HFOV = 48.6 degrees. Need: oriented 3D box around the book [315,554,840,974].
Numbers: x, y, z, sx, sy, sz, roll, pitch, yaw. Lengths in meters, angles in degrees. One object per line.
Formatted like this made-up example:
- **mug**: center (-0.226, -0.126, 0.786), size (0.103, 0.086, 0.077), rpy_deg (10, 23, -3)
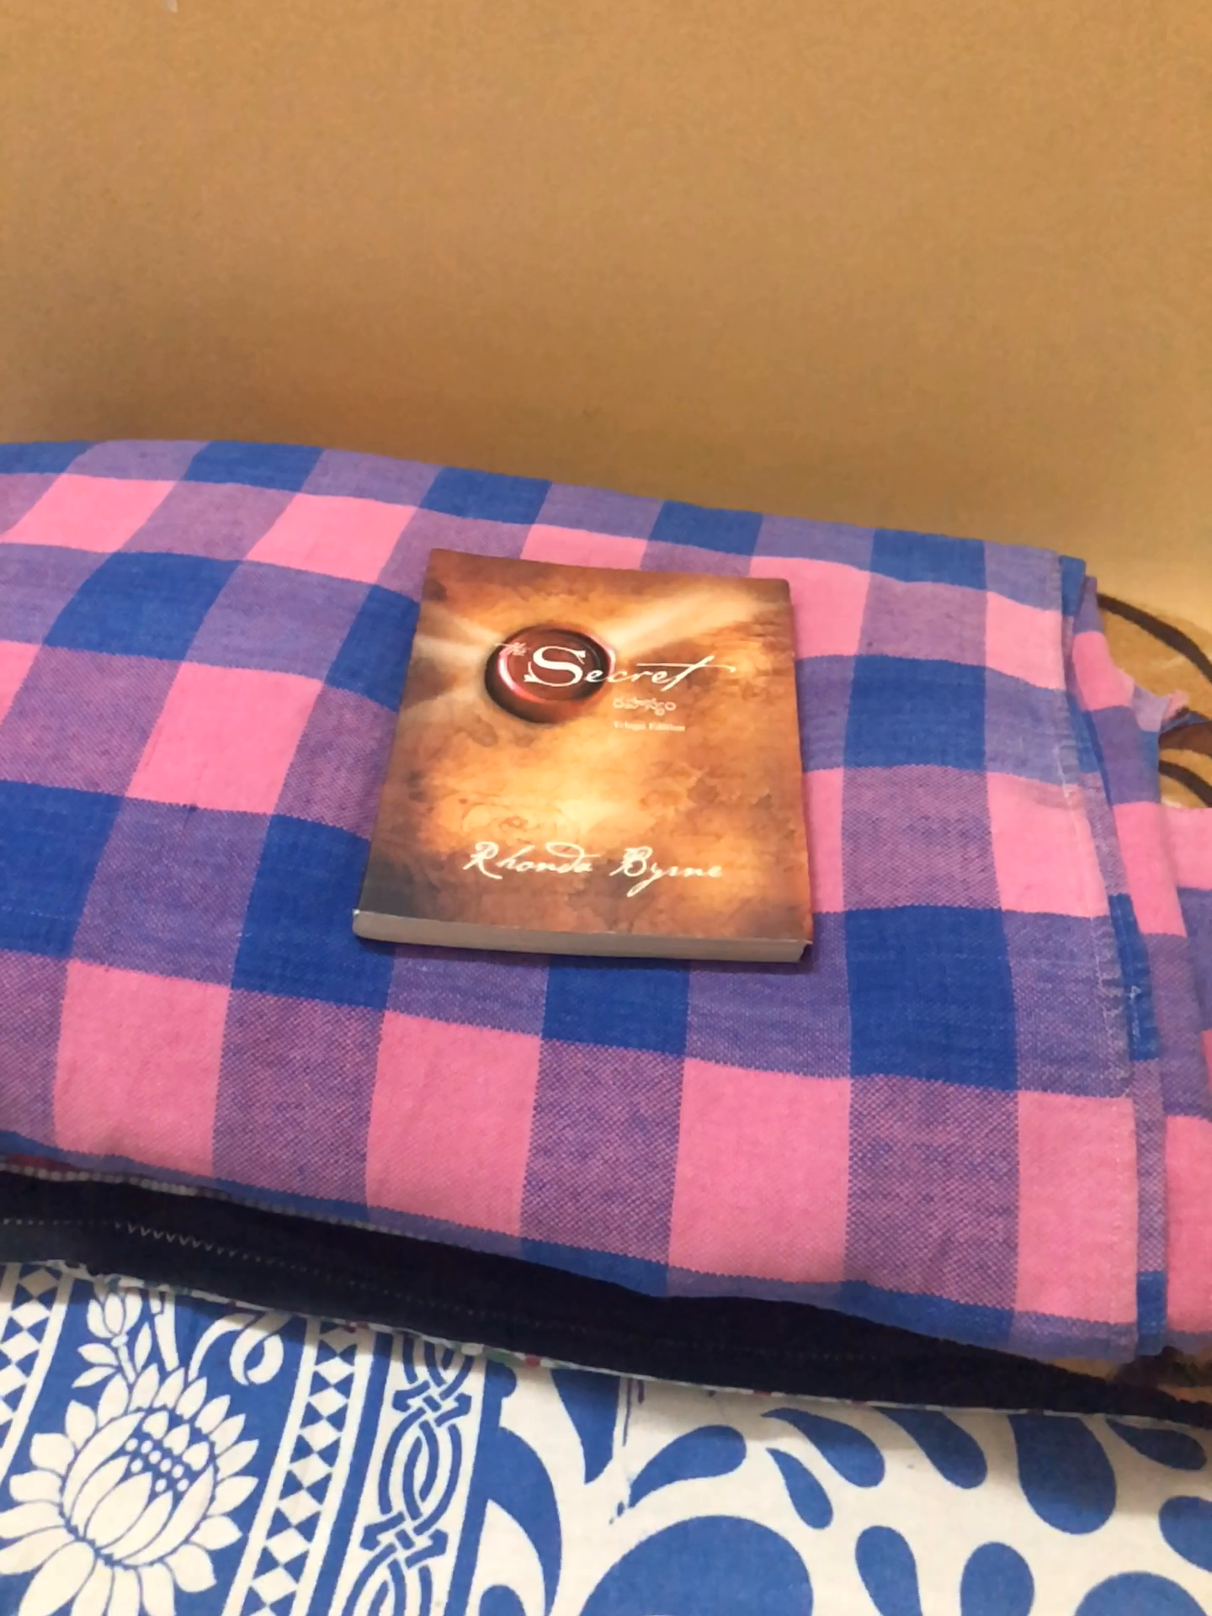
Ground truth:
- **book**: center (-0.005, -0.025, 0.461), size (0.150, 0.020, 0.191), rpy_deg (3, 41, 0)
